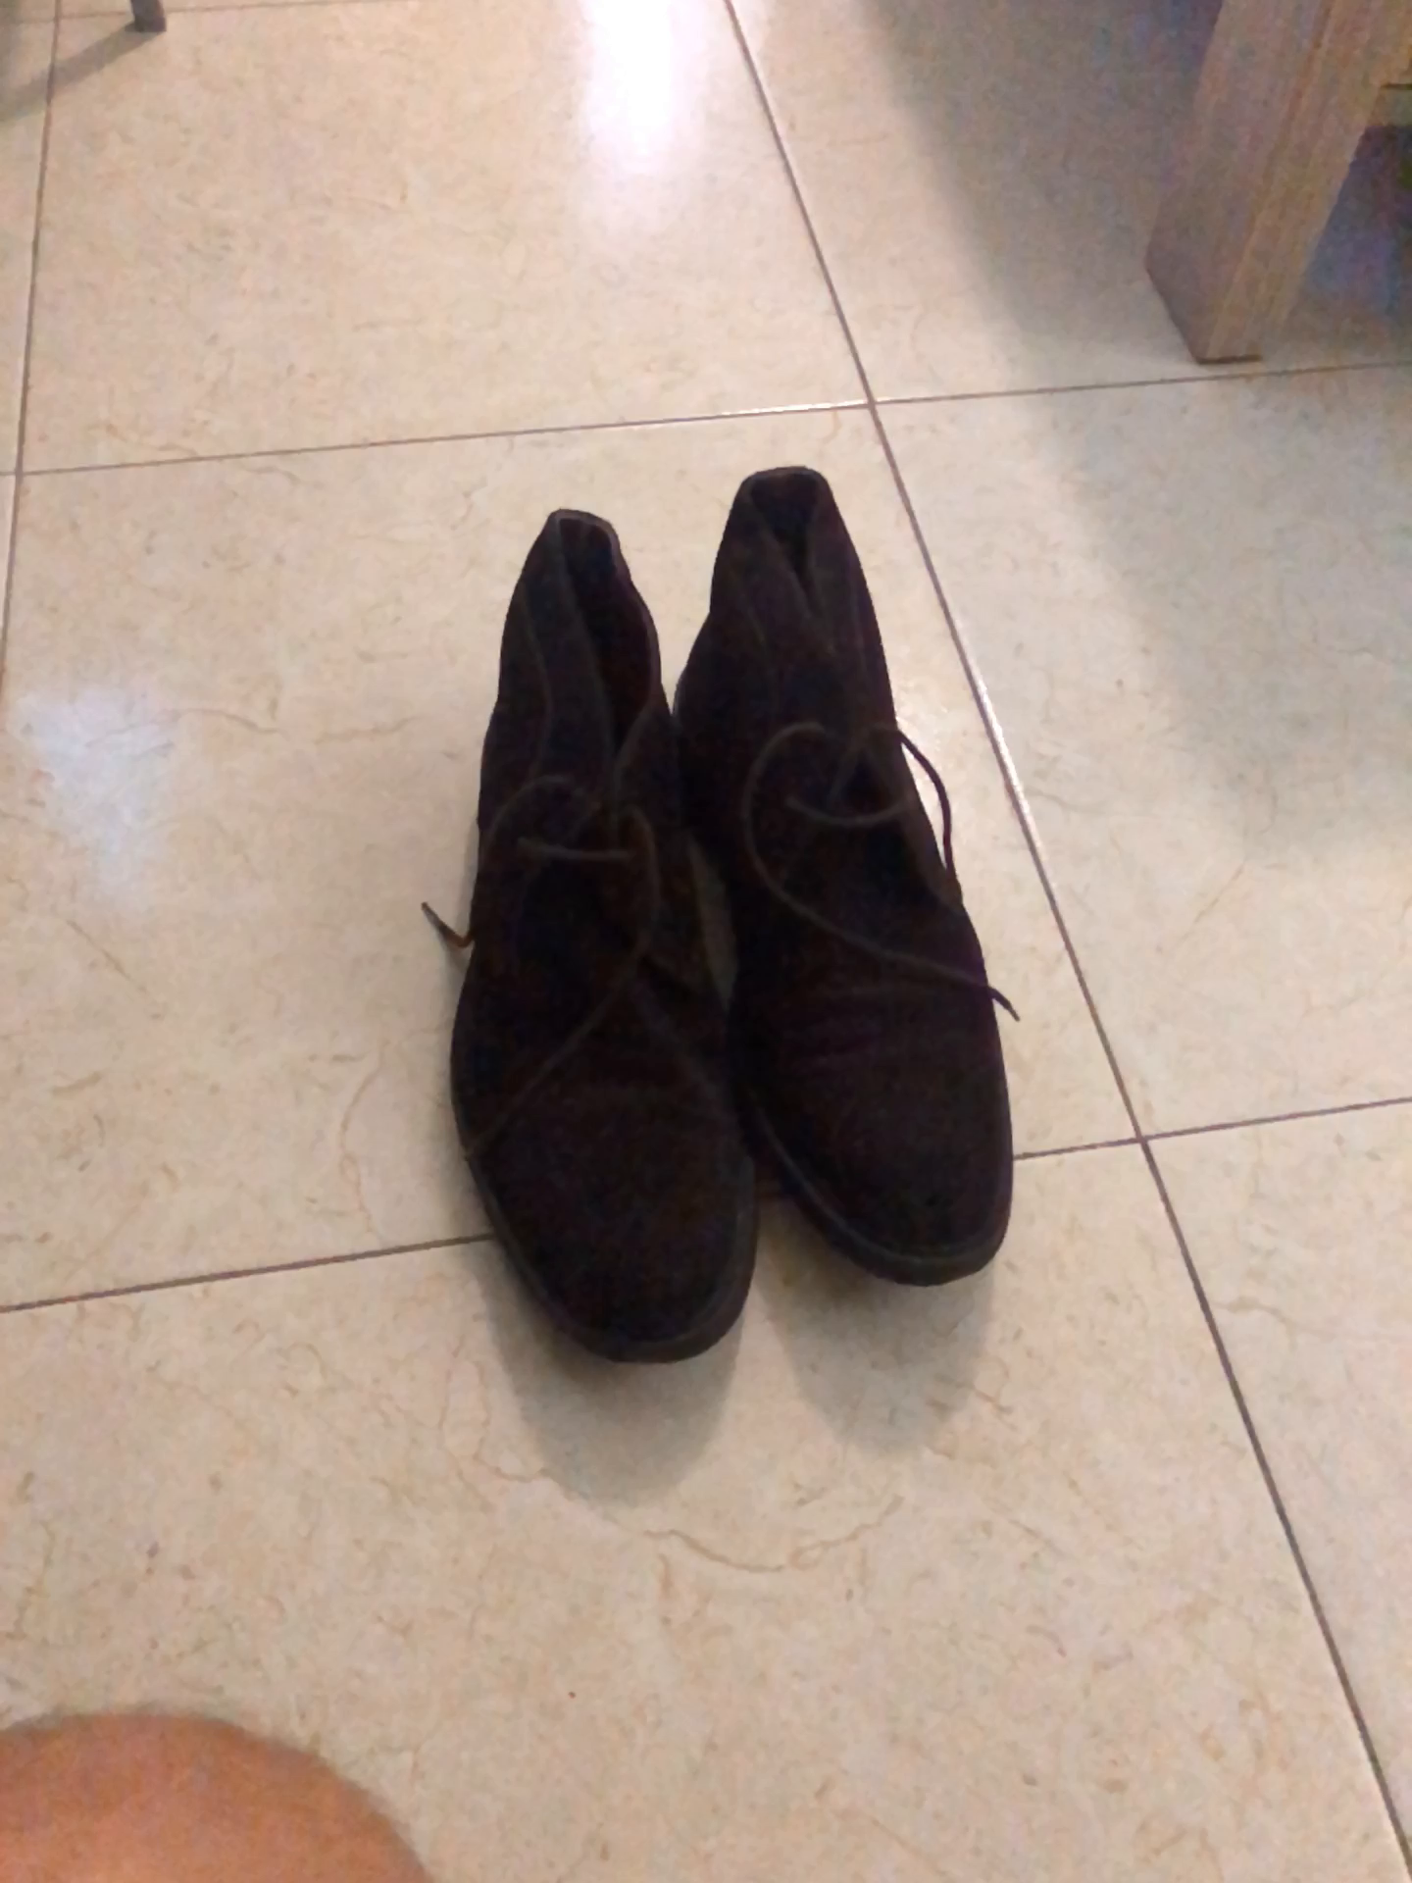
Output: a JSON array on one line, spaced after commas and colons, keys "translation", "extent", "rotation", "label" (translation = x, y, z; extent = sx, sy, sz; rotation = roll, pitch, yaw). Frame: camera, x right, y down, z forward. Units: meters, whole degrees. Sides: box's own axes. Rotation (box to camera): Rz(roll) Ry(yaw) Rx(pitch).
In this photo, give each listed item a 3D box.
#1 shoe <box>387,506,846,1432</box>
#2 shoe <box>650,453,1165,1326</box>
[{"translation": [-0.043, 0.000, 0.561], "extent": [0.110, 0.130, 0.301], "rotation": [-7, 57, -7], "label": "shoe"}, {"translation": [0.056, -0.028, 0.599], "extent": [0.110, 0.140, 0.301], "rotation": [-7, 57, -7], "label": "shoe"}]
